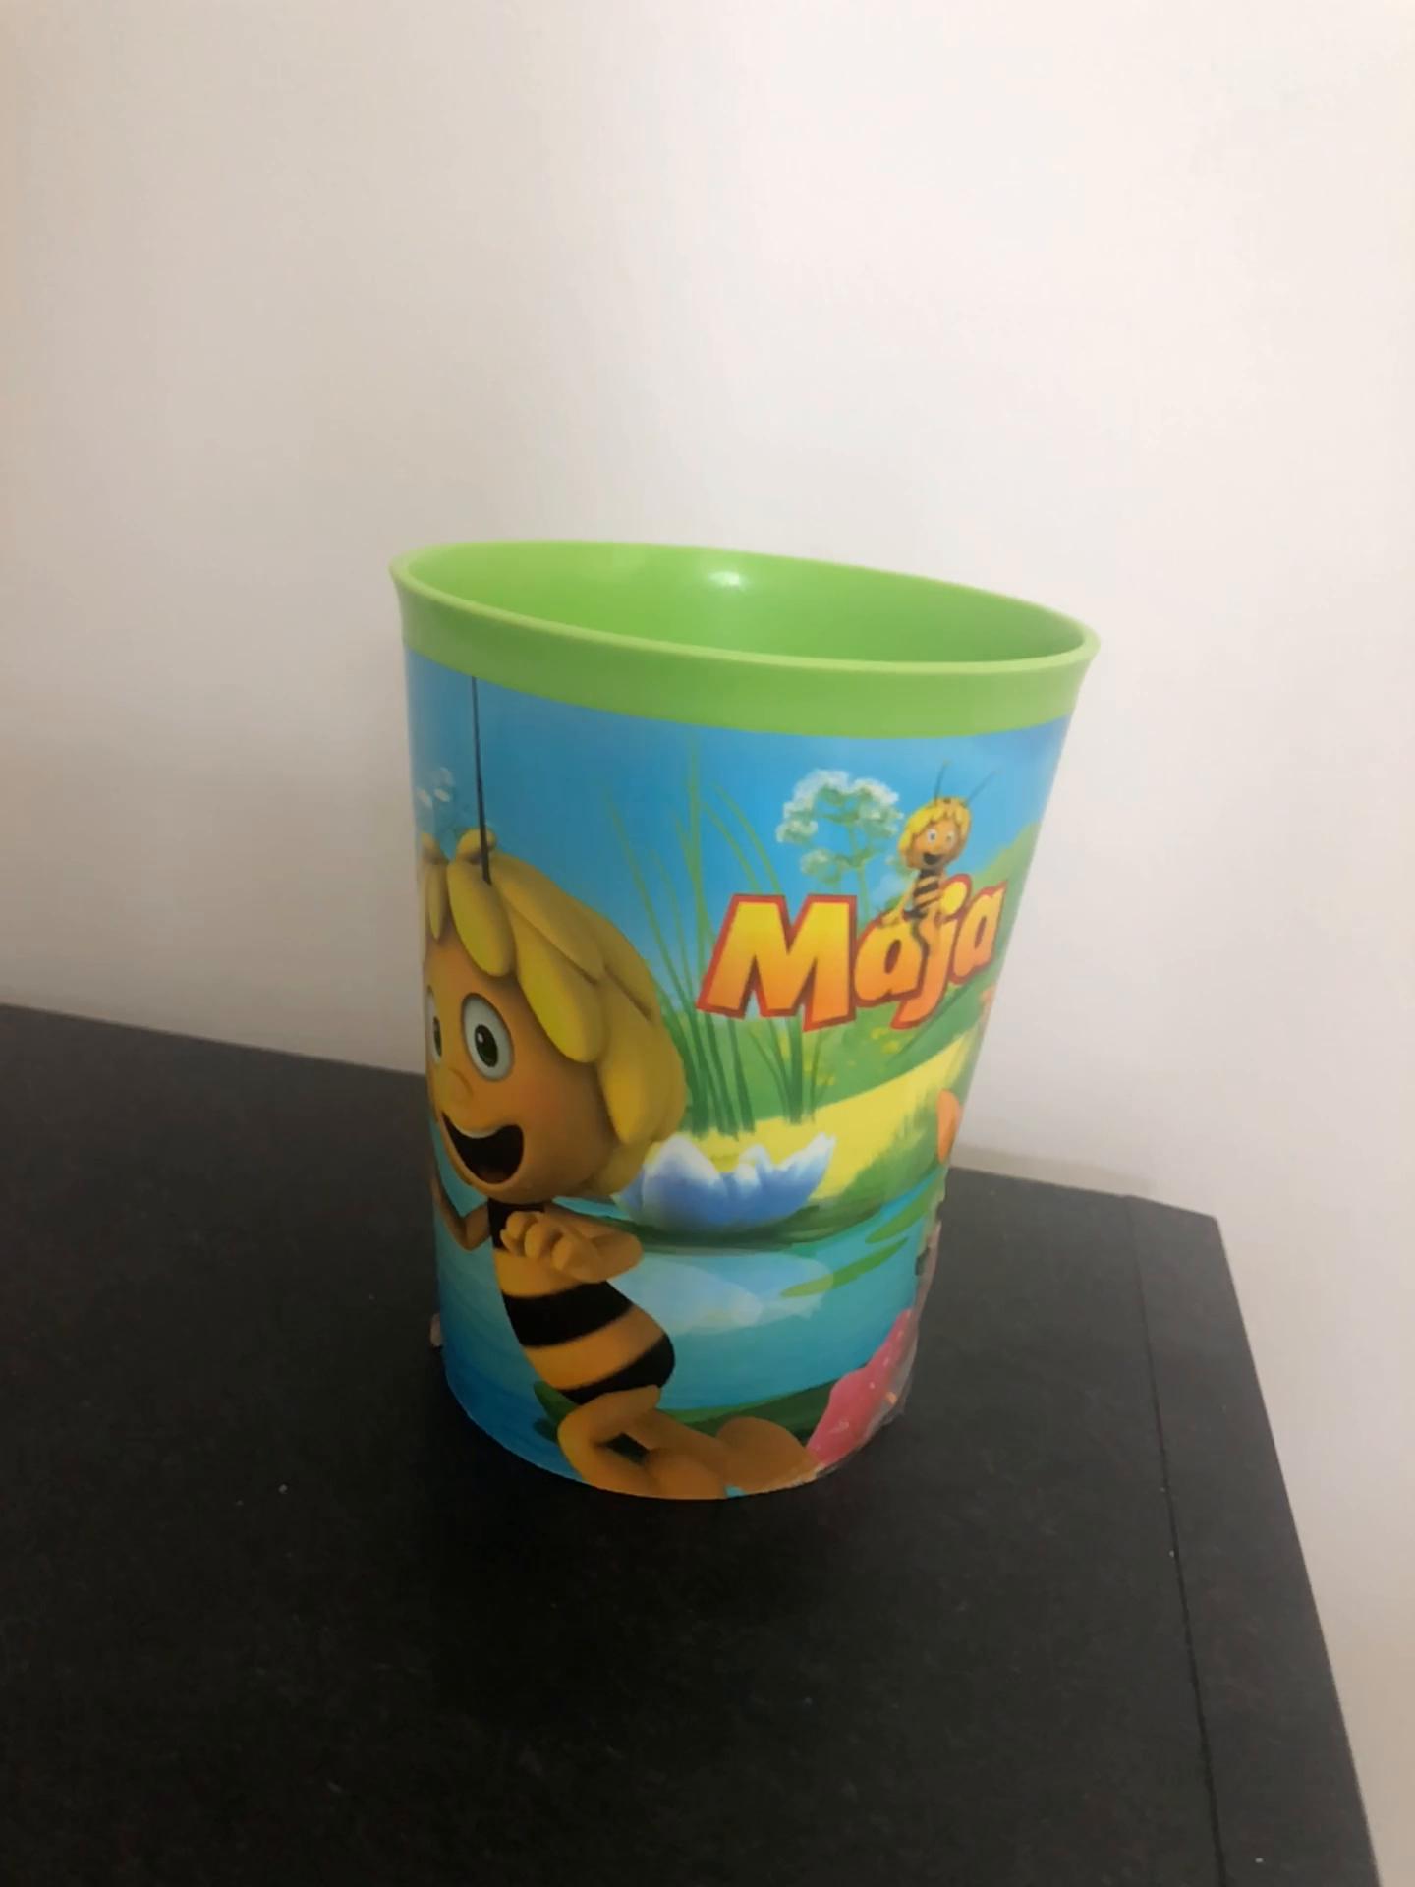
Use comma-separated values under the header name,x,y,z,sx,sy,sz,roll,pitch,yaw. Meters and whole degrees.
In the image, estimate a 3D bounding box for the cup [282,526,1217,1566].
name,x,y,z,sx,sy,sz,roll,pitch,yaw
cup,0.003,0.004,0.190,0.080,0.090,0.080,6,19,-2
